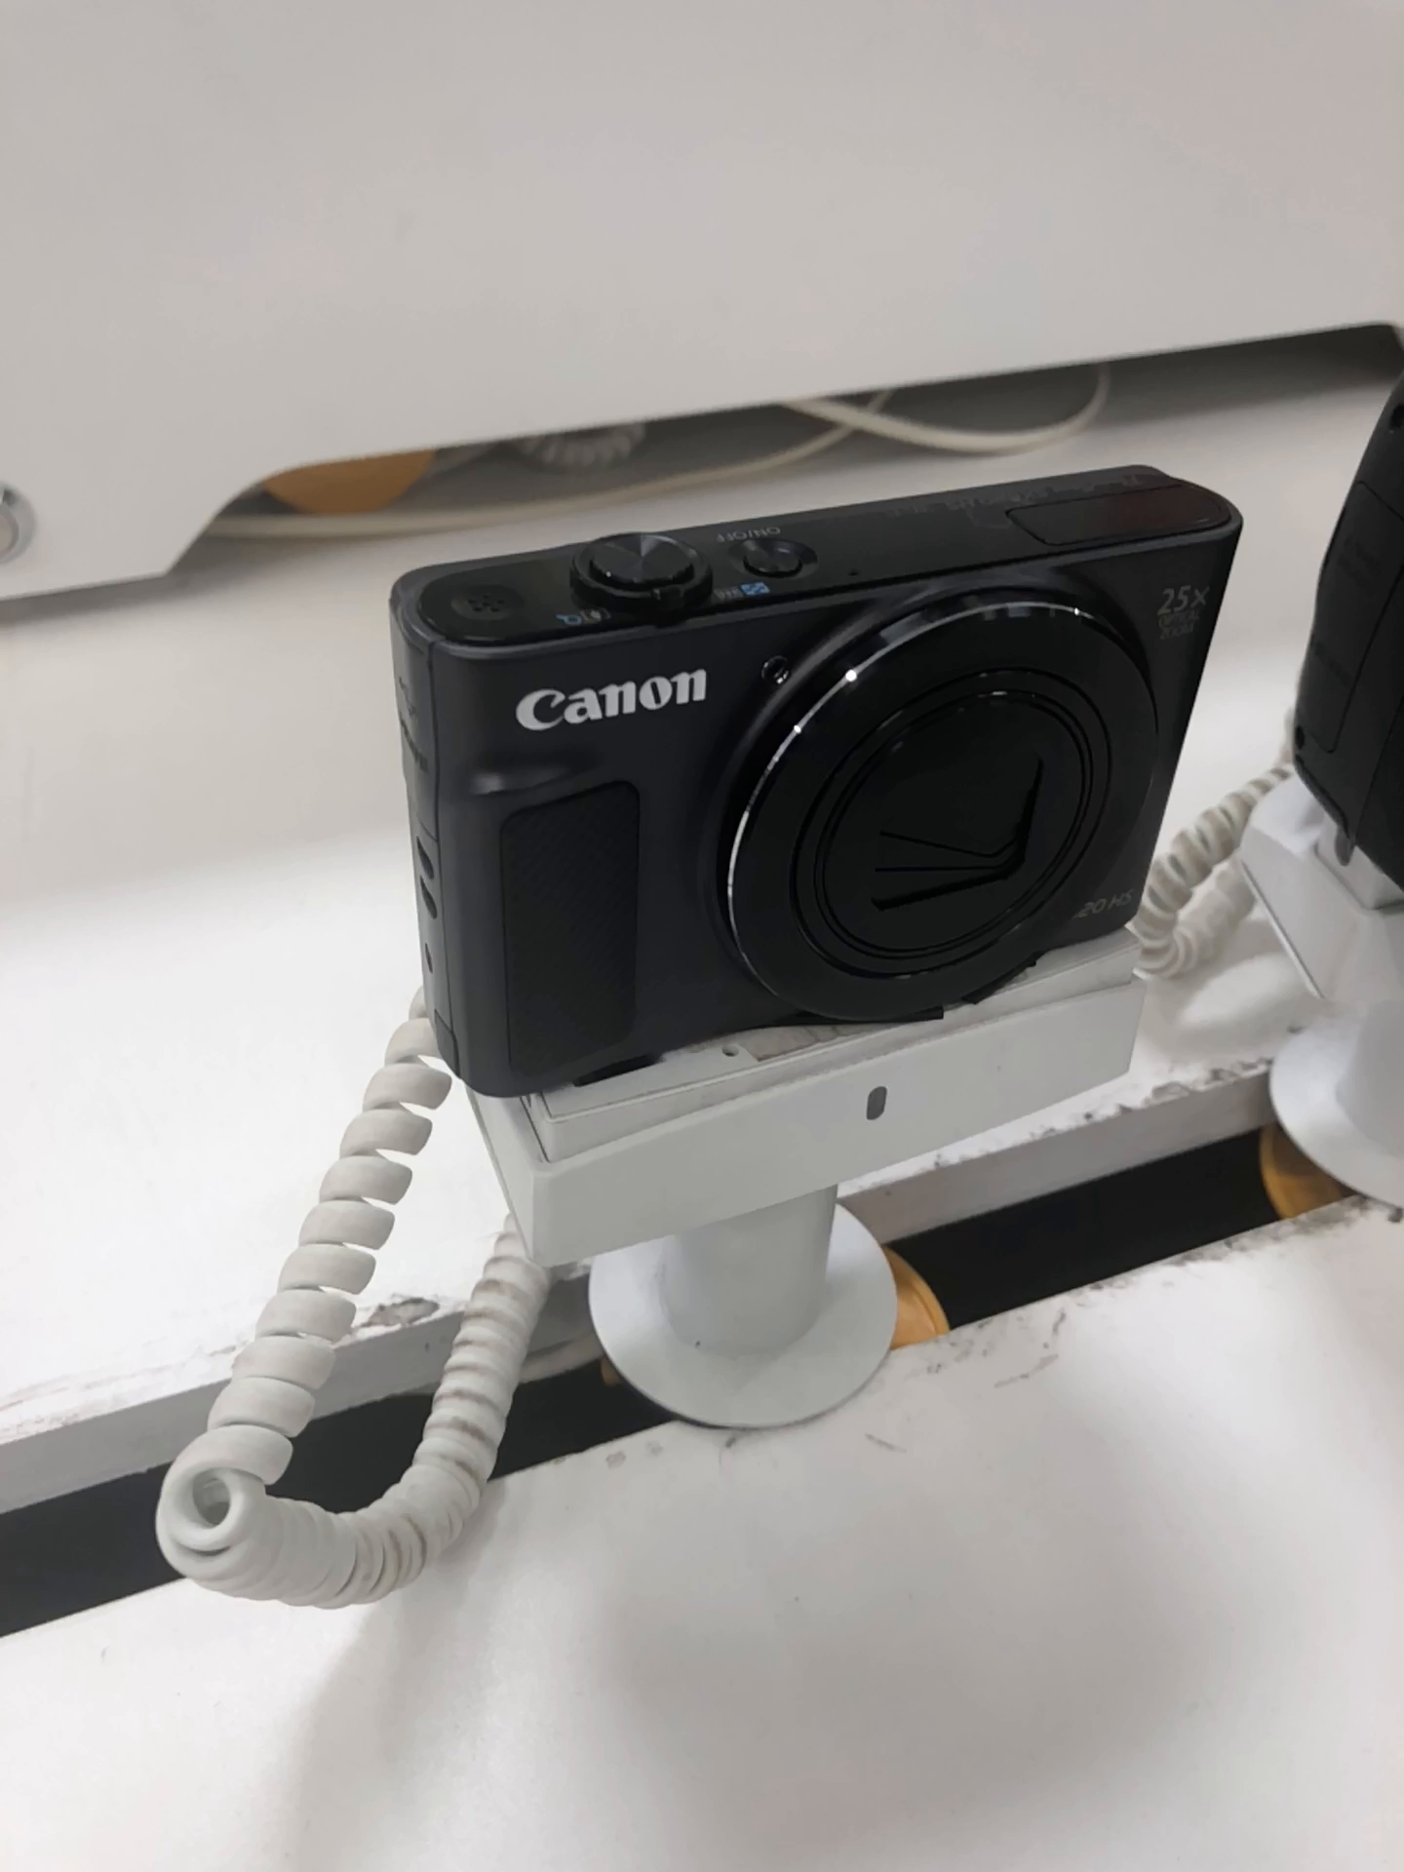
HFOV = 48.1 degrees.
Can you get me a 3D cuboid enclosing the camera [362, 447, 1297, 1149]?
[{"bbox_3d":[0.013,-0.017,0.177,0.093,0.057,0.025,-14,45,-20],"label":"camera"}]
